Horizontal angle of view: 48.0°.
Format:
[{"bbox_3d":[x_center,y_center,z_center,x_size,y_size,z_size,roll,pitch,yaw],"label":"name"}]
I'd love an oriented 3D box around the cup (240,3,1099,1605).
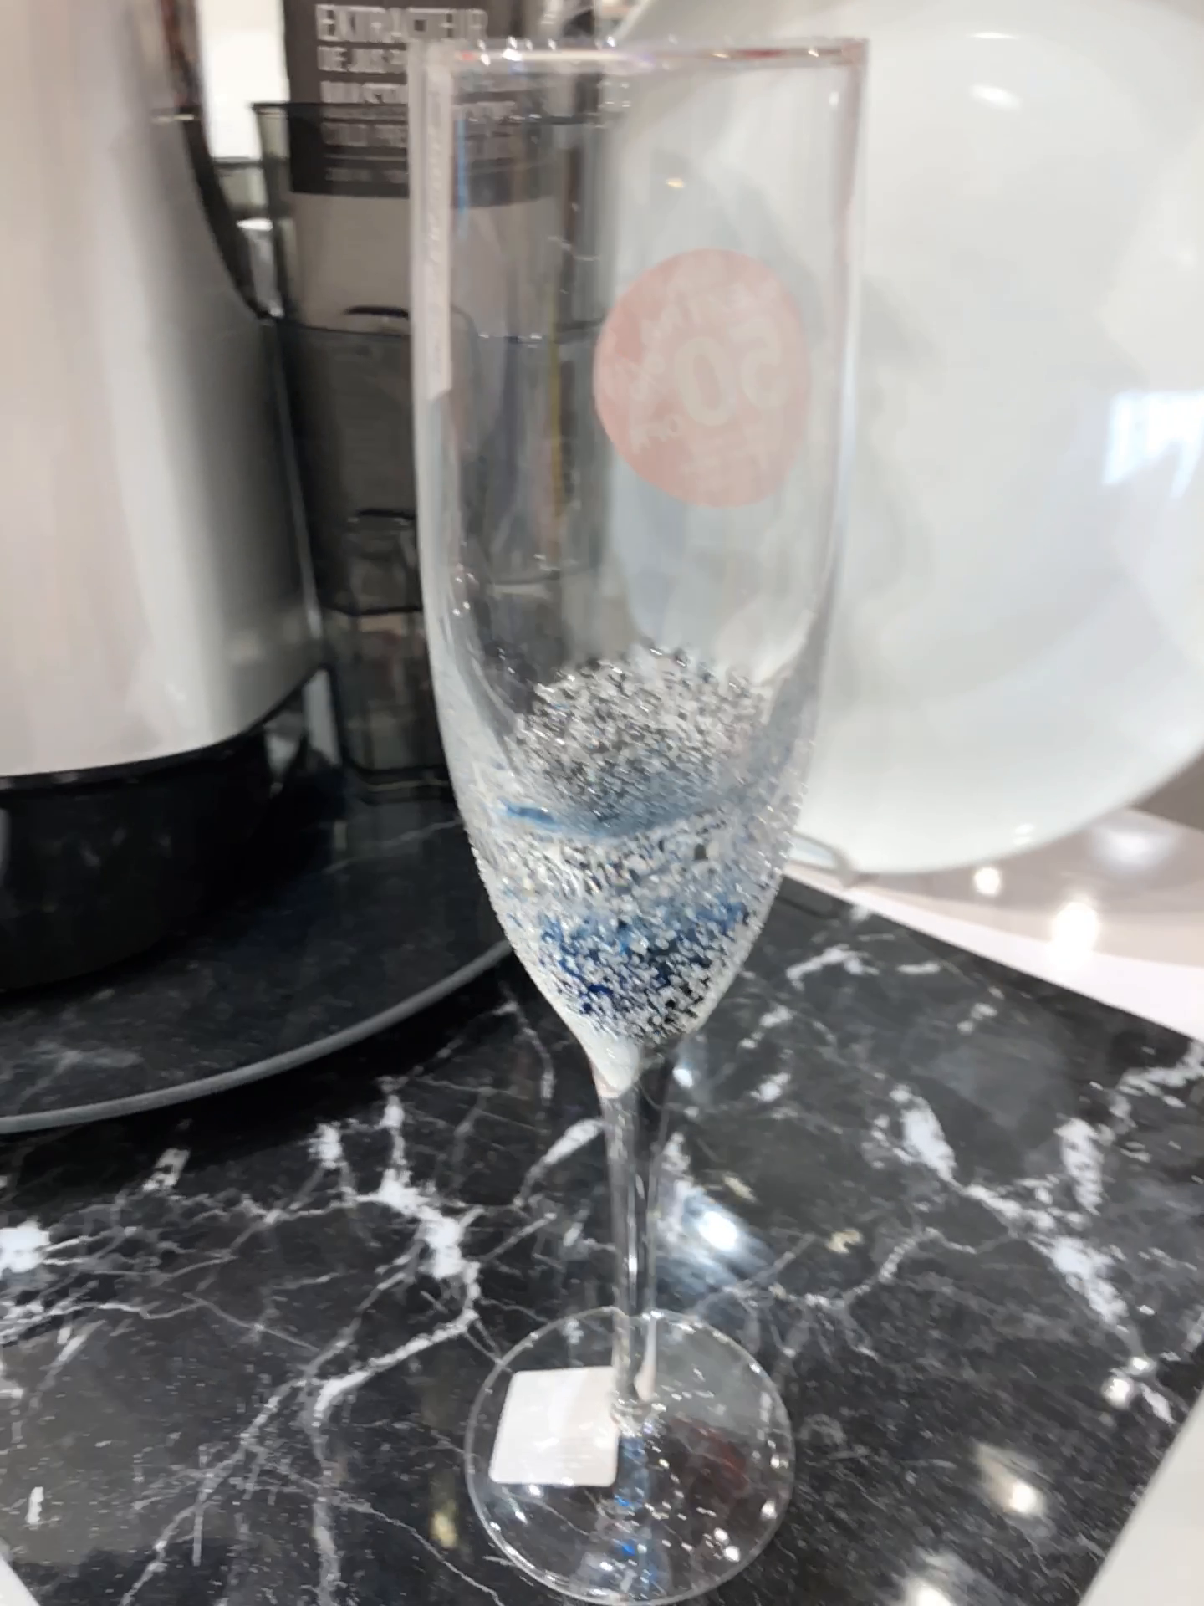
[{"bbox_3d":[0.006,0.020,0.213,0.070,0.249,0.070,0,28,0],"label":"cup"}]
